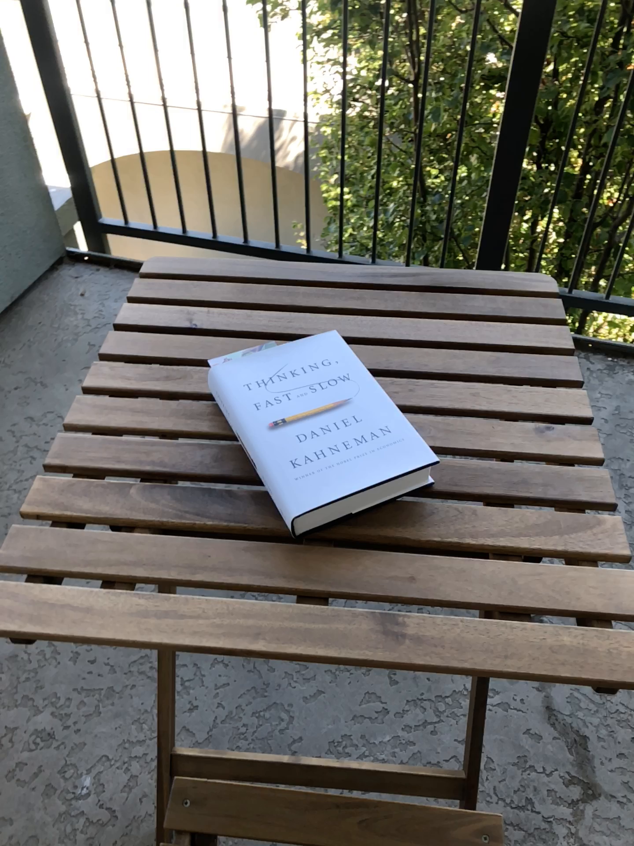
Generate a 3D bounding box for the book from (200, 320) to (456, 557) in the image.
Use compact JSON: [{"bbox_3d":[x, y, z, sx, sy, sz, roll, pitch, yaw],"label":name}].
[{"bbox_3d":[0.002,0.002,0.773,0.180,0.050,0.261,-19,48,-18],"label":"book"}]
